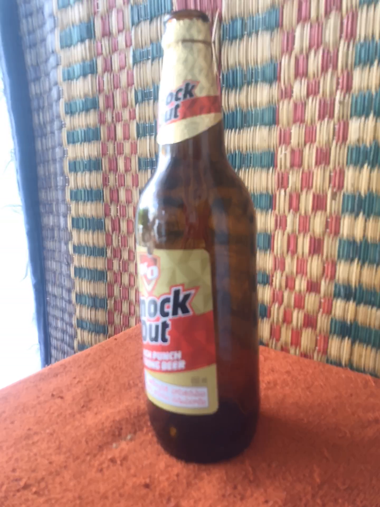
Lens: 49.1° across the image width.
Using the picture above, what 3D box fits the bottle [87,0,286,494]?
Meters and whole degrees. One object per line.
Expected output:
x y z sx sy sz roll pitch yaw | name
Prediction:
0.005 -0.005 0.239 0.070 0.249 0.070 -3 14 1 | bottle
